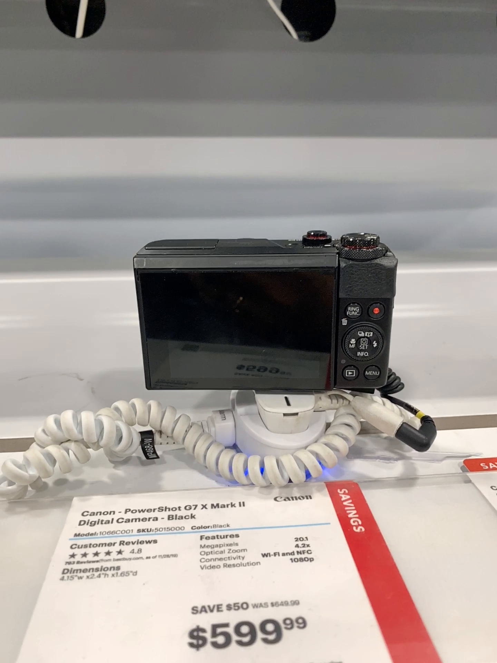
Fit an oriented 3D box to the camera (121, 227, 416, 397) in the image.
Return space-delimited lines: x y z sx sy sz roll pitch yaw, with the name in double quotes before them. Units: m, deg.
"camera" 0.007 -0.010 0.224 0.110 0.060 0.044 1 20 1
